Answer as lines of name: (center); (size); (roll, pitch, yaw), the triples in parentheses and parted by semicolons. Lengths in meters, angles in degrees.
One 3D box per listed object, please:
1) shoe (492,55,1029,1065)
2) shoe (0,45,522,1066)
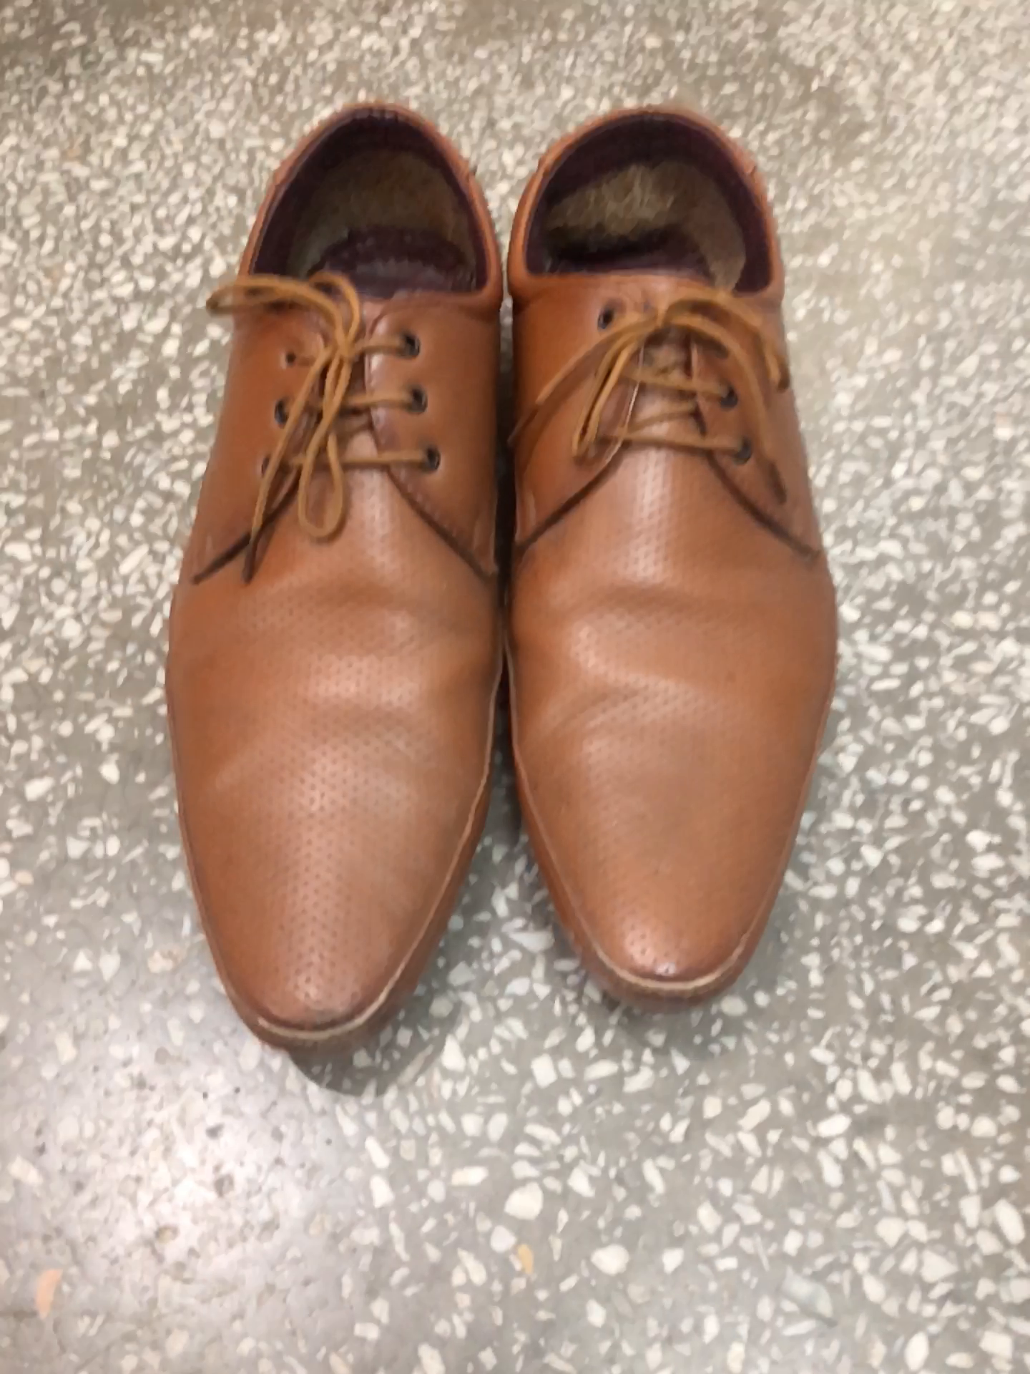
shoe: (0.046, -0.046, 0.343); (0.105, 0.118, 0.285); (0, 61, -1)
shoe: (-0.054, -0.047, 0.340); (0.105, 0.118, 0.285); (0, 61, -1)
